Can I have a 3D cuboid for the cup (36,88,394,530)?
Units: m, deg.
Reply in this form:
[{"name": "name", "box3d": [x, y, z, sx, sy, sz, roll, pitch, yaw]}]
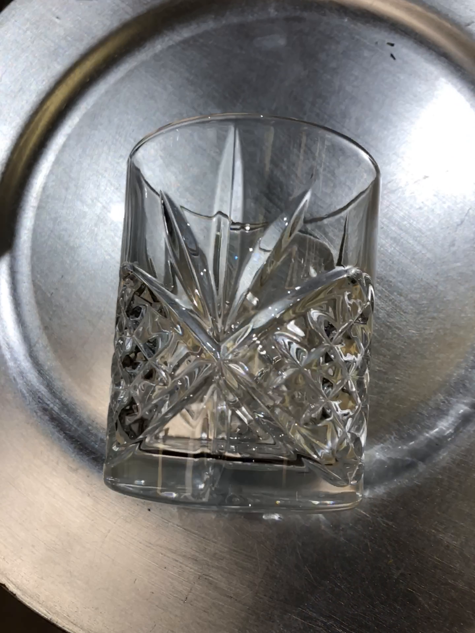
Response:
[{"name": "cup", "box3d": [0.001, 0.000, 0.155, 0.080, 0.060, 0.100, 1, 78, 12]}]
